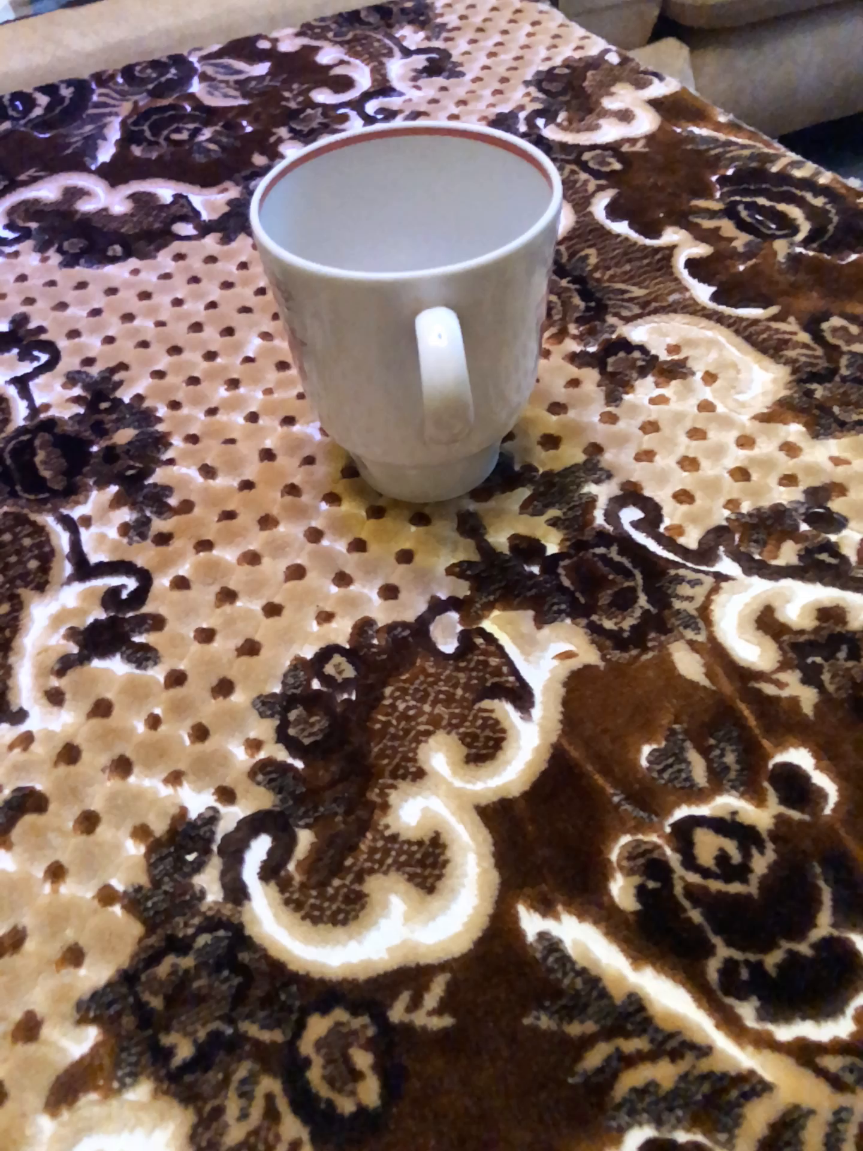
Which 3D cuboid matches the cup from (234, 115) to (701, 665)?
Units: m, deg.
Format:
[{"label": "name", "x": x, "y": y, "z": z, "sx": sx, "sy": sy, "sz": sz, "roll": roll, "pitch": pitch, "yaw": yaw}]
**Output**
[{"label": "cup", "x": 0.002, "y": -0.060, "z": 0.289, "sx": 0.100, "sy": 0.090, "sz": 0.131, "roll": -9, "pitch": 49, "yaw": -5}]
